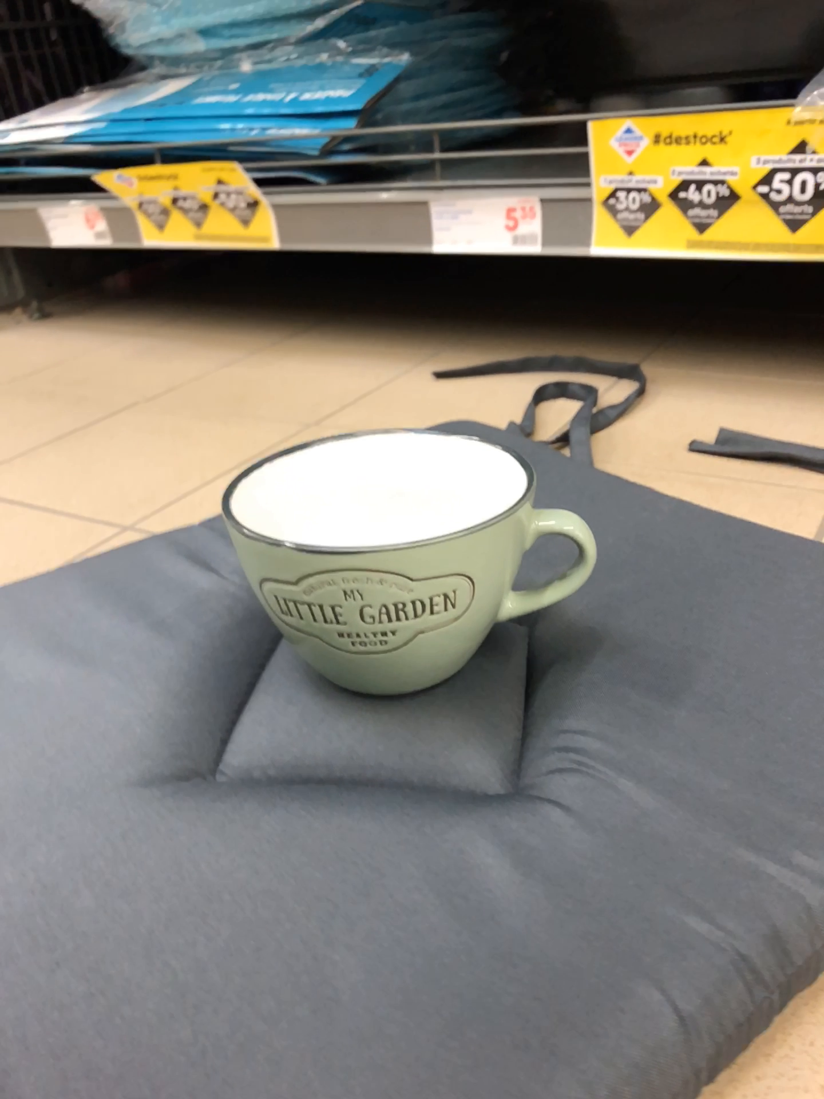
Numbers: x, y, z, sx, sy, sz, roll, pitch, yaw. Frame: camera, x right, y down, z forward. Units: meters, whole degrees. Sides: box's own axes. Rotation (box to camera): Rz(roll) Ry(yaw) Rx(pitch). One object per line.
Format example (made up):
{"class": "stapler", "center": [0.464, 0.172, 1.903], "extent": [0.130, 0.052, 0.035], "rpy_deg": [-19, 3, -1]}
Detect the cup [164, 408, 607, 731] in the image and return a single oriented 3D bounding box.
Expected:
{"class": "cup", "center": [0.001, 0.002, 0.351], "extent": [0.140, 0.070, 0.121], "rpy_deg": [-1, 28, 10]}
